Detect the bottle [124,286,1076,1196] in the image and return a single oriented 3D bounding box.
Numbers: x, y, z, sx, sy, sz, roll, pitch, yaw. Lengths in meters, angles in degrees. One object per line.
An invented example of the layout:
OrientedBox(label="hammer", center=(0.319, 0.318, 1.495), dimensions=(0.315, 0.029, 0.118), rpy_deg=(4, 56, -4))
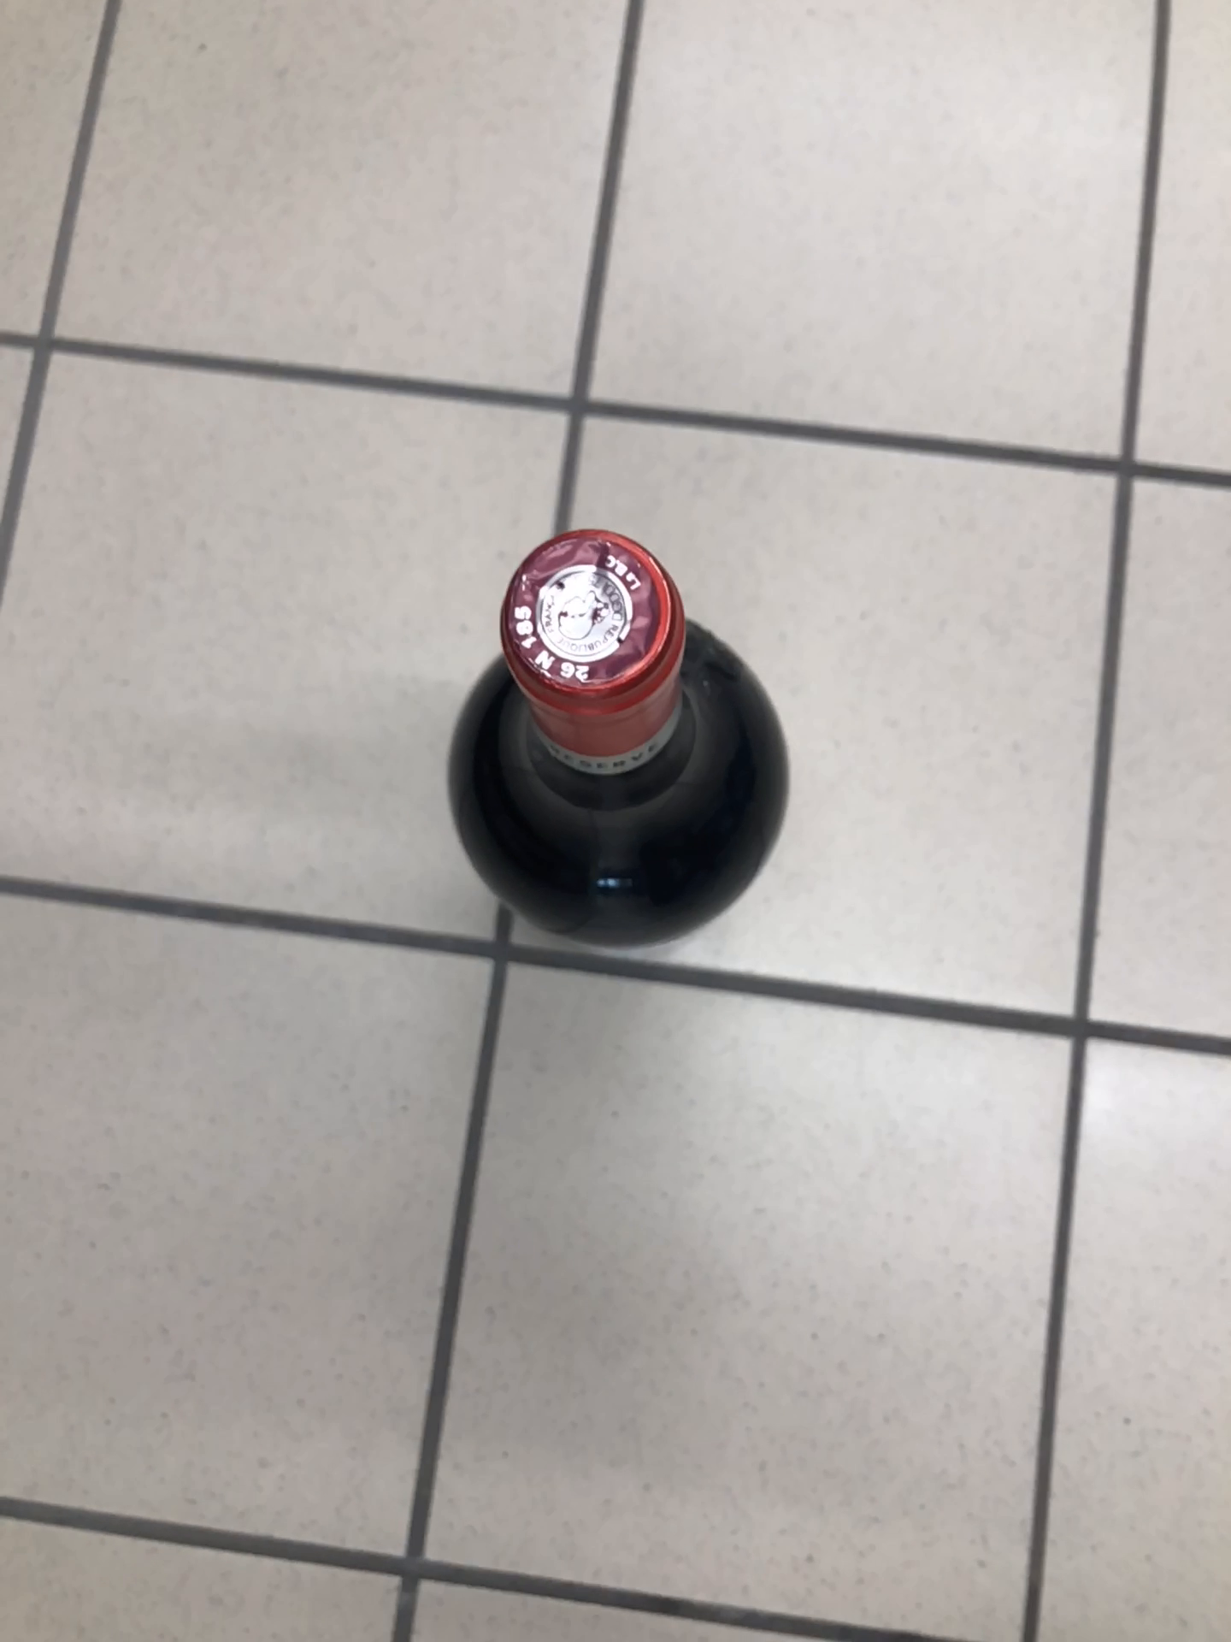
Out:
OrientedBox(label="bottle", center=(0.001, 0.005, 0.343), dimensions=(0.110, 0.270, 0.100), rpy_deg=(0, 81, 1))
